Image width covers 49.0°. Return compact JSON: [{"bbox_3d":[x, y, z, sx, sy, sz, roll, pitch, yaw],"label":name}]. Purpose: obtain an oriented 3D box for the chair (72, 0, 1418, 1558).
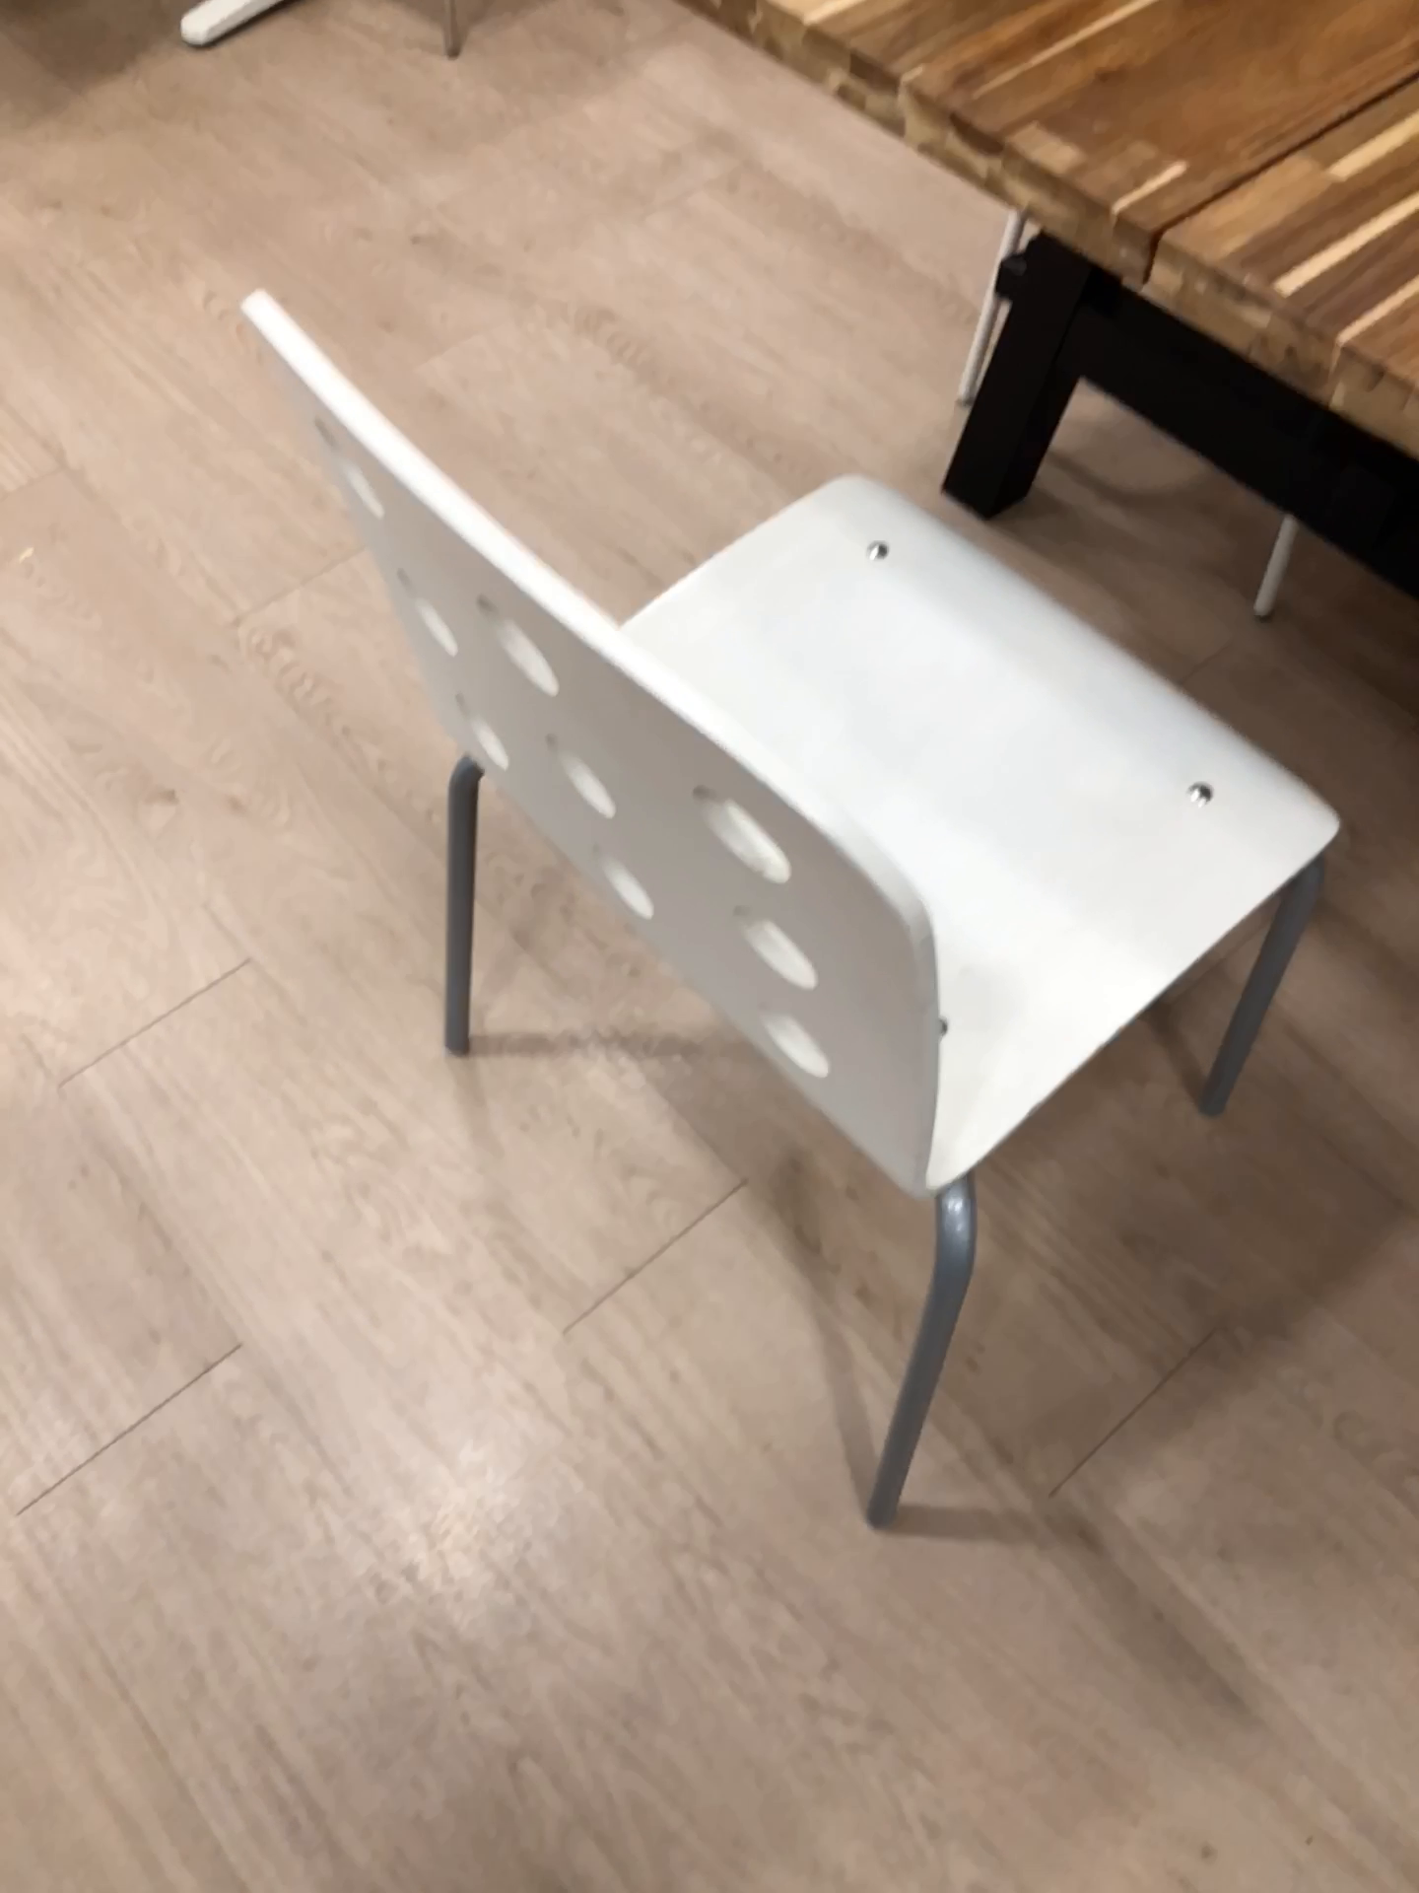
[{"bbox_3d":[0.095,-0.094,0.970,0.491,0.717,0.572,-39,64,-21],"label":"chair"}]
